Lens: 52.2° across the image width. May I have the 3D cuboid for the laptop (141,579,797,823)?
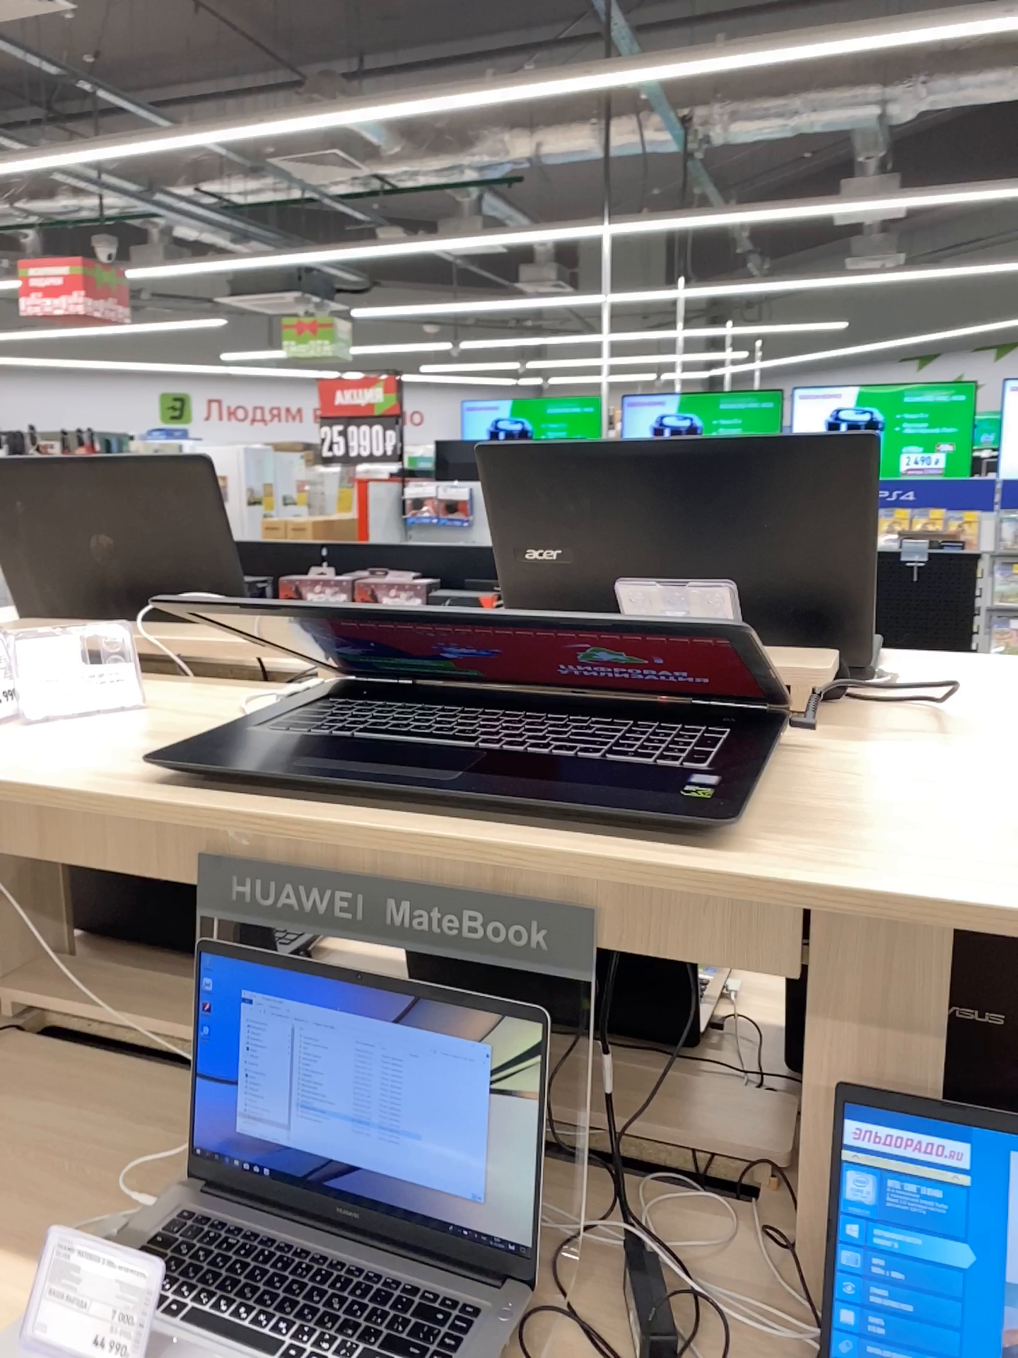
[{"bbox_3d":[-0.015,-0.006,0.774,0.414,0.095,0.269,3,13,21],"label":"laptop"}]
